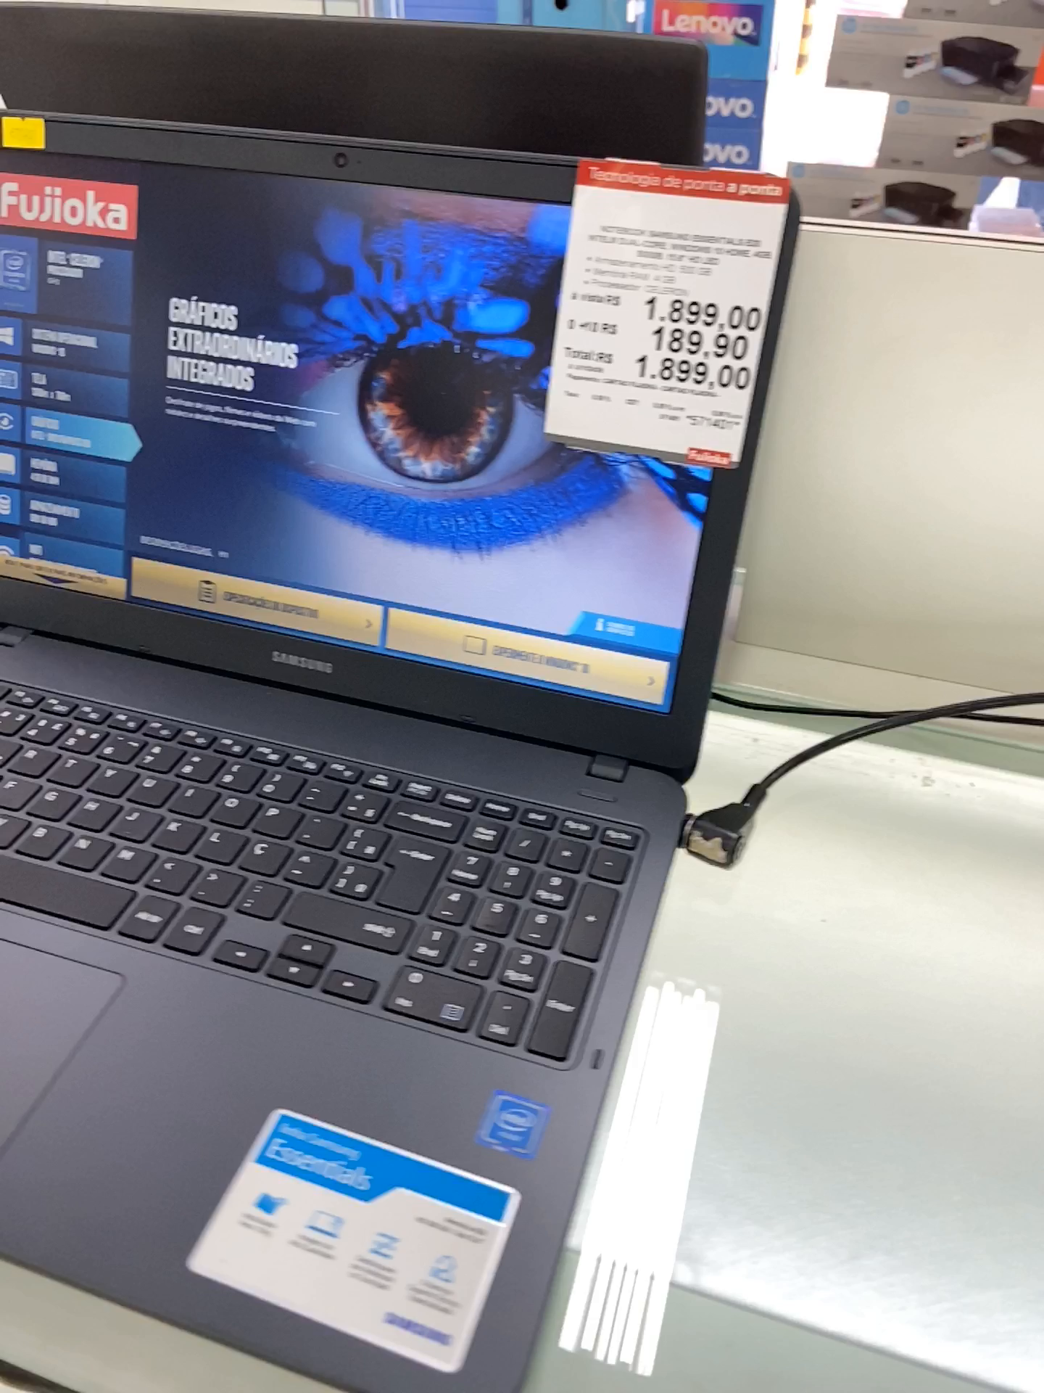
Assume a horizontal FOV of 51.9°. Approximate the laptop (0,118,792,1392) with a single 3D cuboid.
[{"bbox_3d":[-0.127,-0.041,0.377,0.366,0.207,0.348,11,40,14],"label":"laptop"}]
